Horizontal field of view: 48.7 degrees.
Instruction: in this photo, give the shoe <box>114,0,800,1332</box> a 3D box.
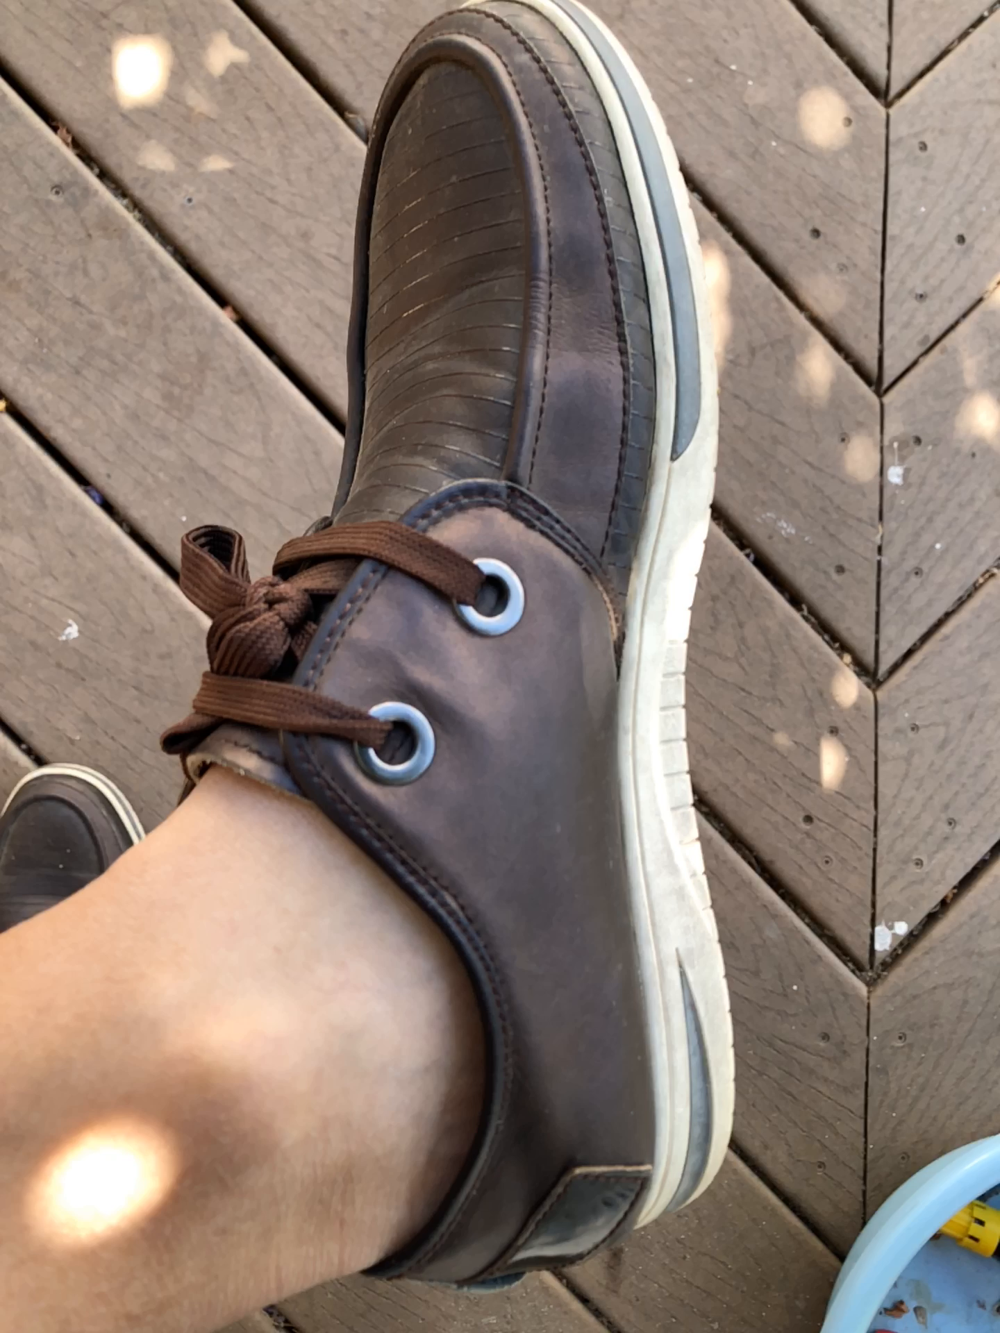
[{"bbox_3d":[-0.009,-0.012,0.237,0.102,0.097,0.274,1,91,-45],"label":"shoe"}]
